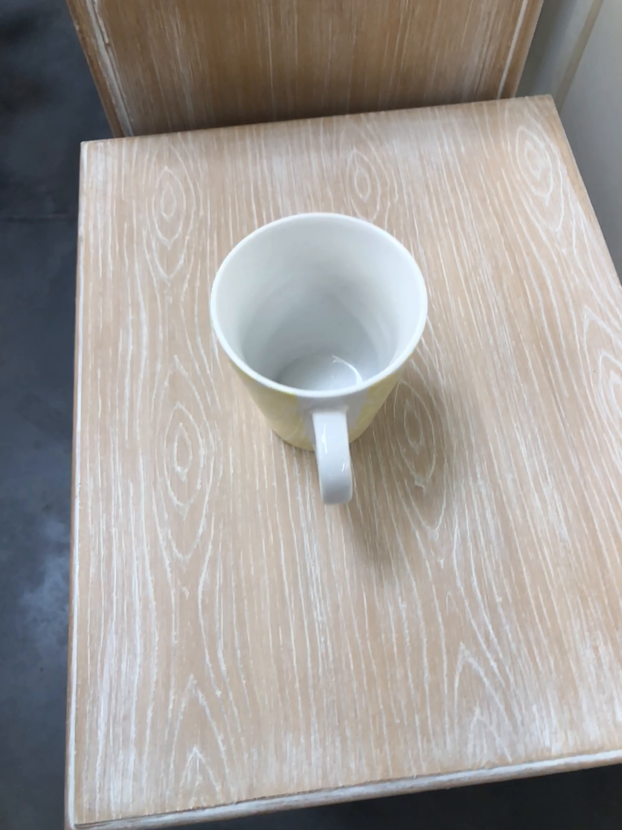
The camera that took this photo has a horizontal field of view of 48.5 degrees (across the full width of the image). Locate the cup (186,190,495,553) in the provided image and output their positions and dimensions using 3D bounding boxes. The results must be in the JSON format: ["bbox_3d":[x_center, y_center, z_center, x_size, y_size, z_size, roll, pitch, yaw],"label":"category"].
[{"bbox_3d":[0.007,-0.017,0.318,0.102,0.090,0.125,-9,66,-4],"label":"cup"}]
